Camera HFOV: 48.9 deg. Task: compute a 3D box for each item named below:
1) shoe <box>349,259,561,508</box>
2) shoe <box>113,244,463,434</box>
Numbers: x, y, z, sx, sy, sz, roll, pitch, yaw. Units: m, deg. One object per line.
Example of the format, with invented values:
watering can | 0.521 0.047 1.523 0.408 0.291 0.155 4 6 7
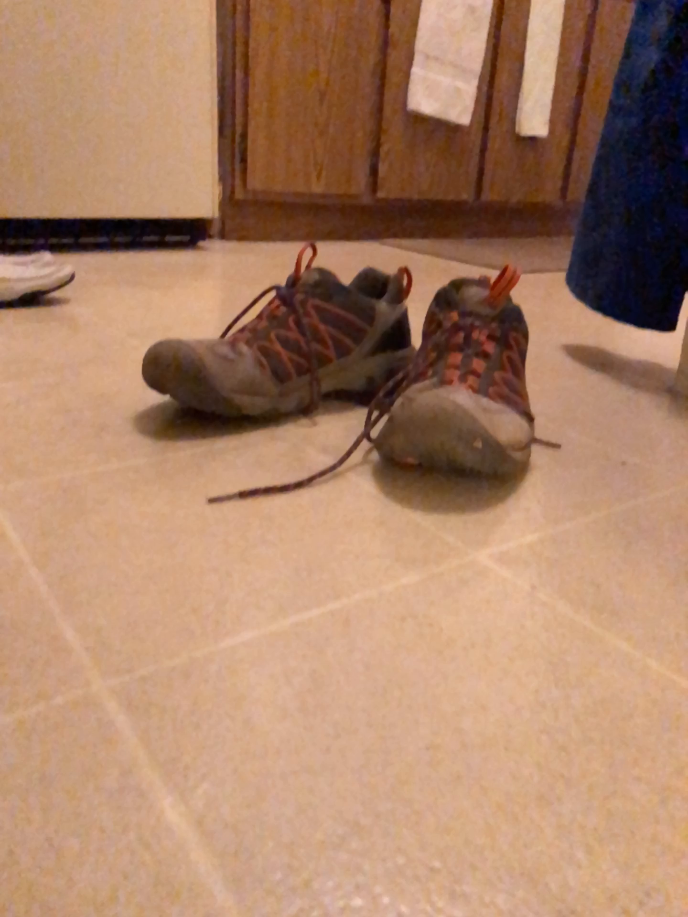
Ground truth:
shoe | 0.100 -0.082 0.630 0.127 0.121 0.283 8 22 10
shoe | -0.044 -0.124 0.700 0.293 0.121 0.127 -14 27 -36
